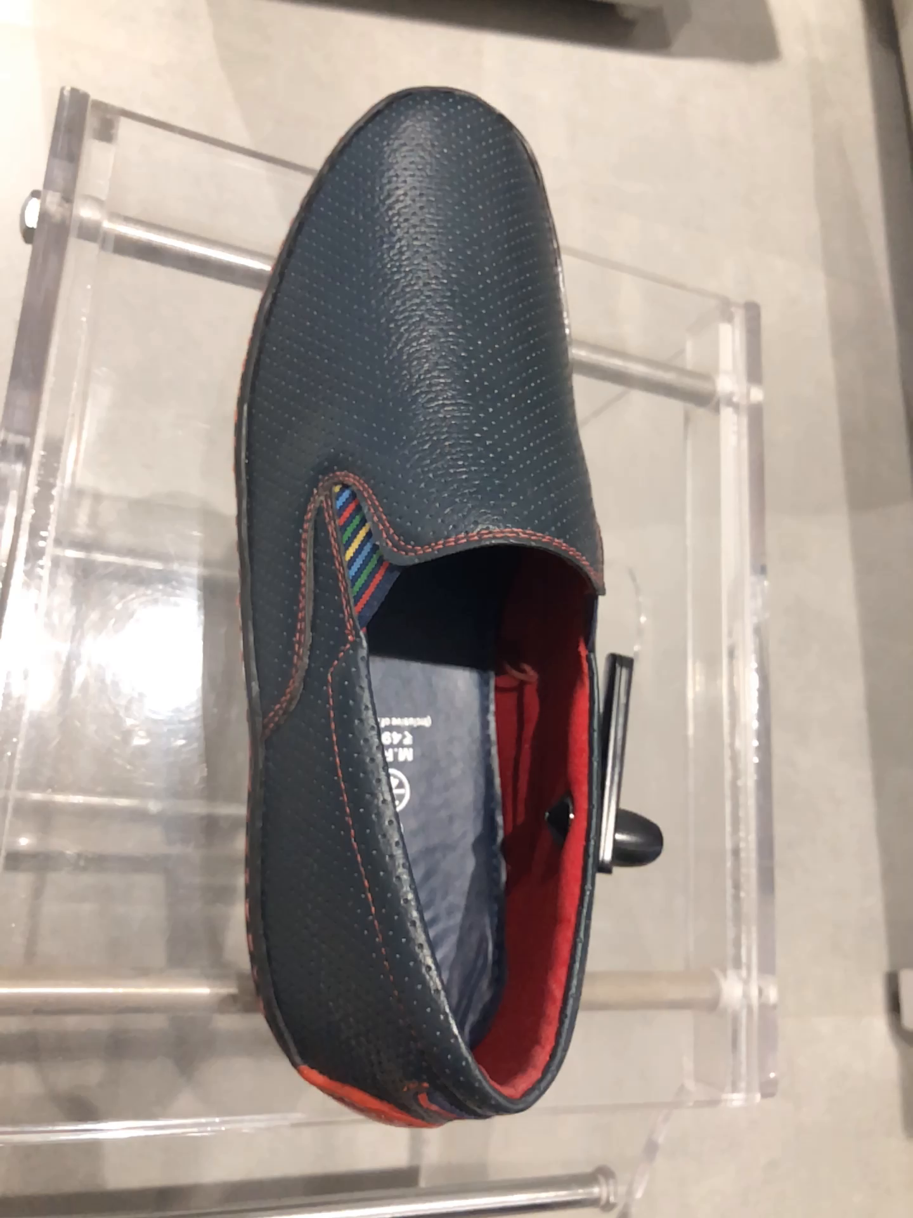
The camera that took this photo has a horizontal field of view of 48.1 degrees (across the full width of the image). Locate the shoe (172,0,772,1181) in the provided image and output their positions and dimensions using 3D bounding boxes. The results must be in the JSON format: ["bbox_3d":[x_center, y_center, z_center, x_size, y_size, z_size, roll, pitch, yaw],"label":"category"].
[{"bbox_3d":[-0.002,-0.019,0.271,0.110,0.100,0.270,6,76,-22],"label":"shoe"}]
